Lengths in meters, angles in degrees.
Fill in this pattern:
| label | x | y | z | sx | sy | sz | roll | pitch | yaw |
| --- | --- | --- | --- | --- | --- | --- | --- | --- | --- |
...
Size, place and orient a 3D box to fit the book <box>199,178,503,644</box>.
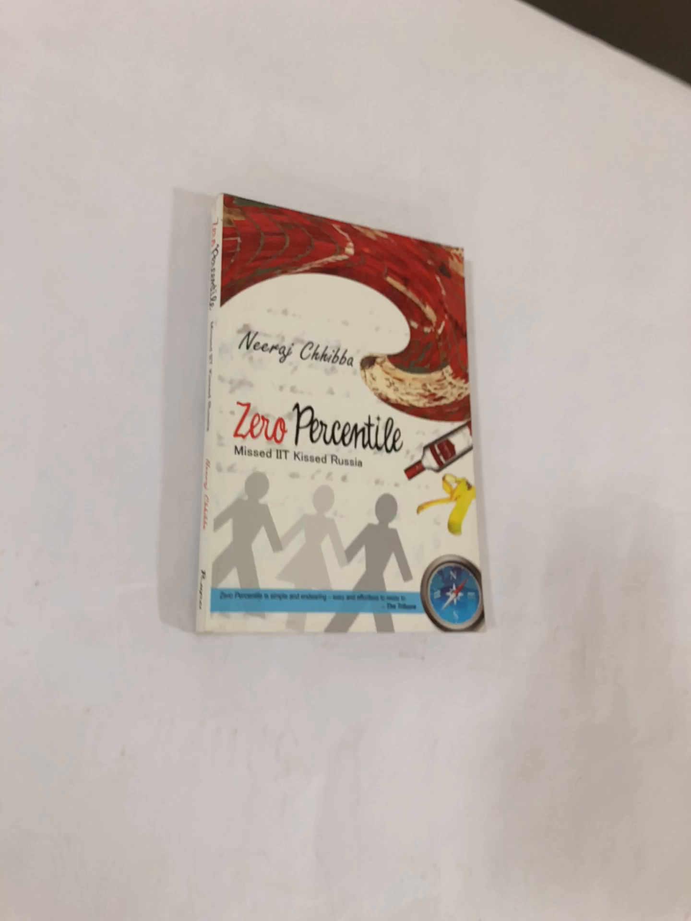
| label | x | y | z | sx | sy | sz | roll | pitch | yaw |
| --- | --- | --- | --- | --- | --- | --- | --- | --- | --- |
| book | 0.005 | -0.020 | 0.353 | 0.132 | 0.021 | 0.200 | 7 | 73 | -24 |
